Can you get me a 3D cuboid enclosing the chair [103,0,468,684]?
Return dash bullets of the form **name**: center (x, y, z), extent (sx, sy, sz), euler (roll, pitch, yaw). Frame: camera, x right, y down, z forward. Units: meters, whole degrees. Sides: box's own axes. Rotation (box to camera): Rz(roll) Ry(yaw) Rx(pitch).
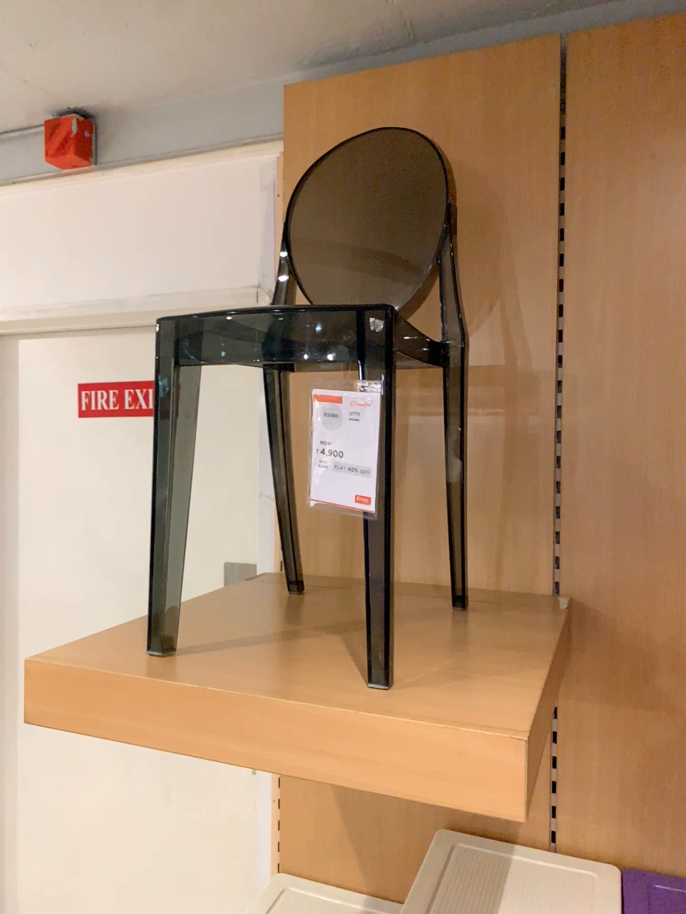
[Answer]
- **chair**: center (-0.052, -0.171, 1.094), extent (0.400, 0.850, 0.470), euler (1, 1, 20)
